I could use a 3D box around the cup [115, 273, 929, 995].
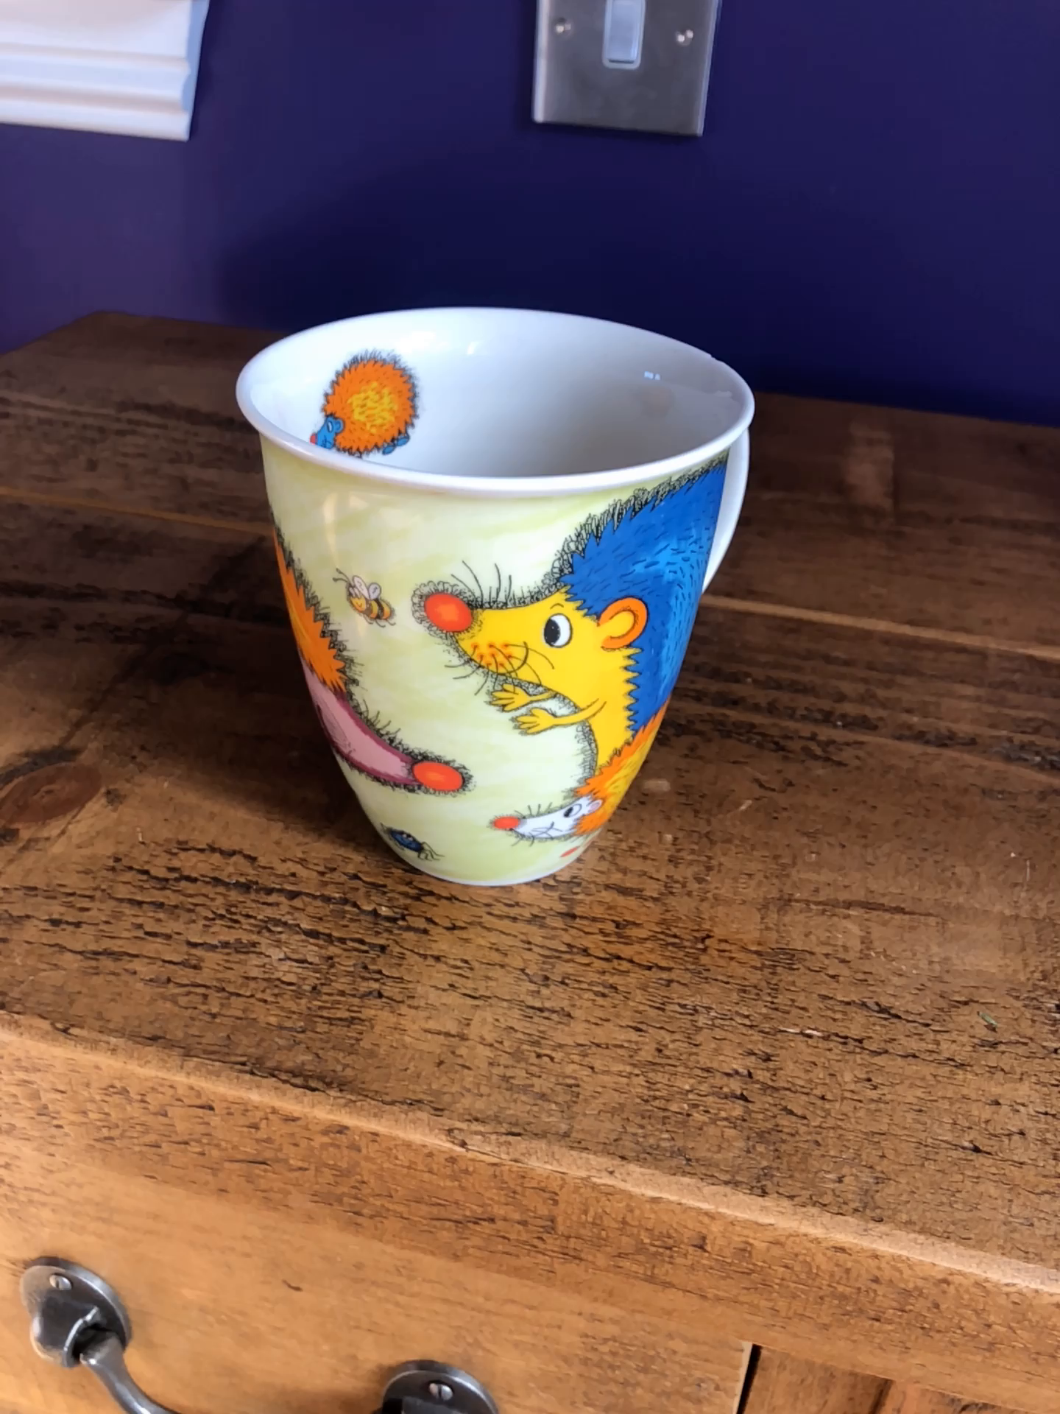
[{"bbox_3d":[0.000,-0.030,0.263,0.107,0.089,0.128,28,41,33],"label":"cup"}]
